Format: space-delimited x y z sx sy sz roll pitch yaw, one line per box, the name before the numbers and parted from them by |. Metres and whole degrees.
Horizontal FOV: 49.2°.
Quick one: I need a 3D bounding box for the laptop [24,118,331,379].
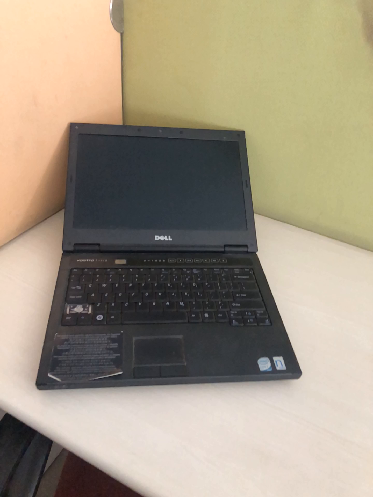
laptop | -0.029 -0.043 0.605 0.305 0.125 0.433 0 39 -9
